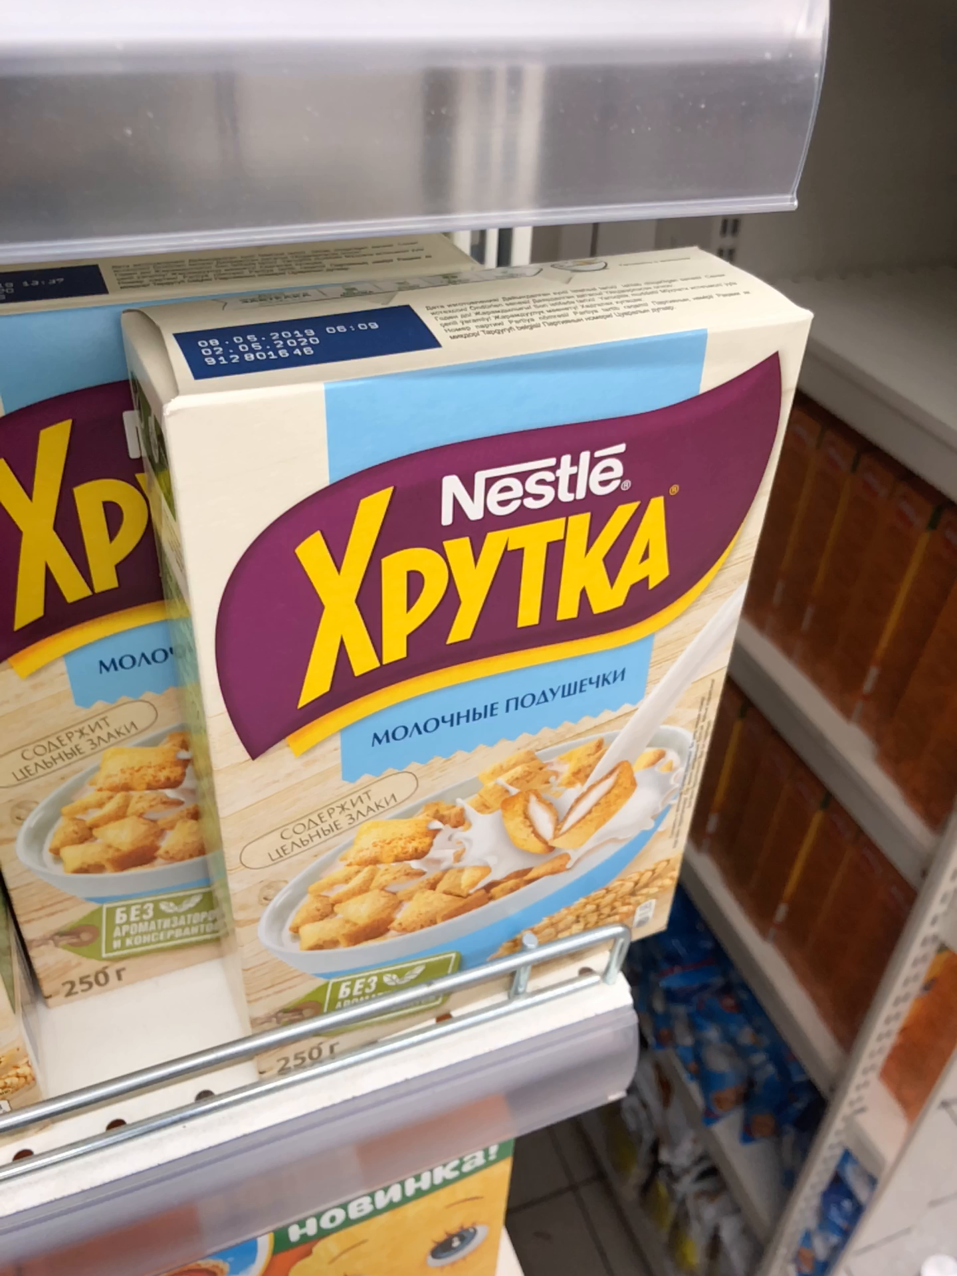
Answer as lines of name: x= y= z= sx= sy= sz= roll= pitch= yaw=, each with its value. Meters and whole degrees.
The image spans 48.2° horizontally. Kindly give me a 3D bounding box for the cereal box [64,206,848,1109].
cereal box: x=-0.006 y=0.014 z=0.280 sx=0.150 sy=0.219 sz=0.050 roll=-14 pitch=40 yaw=-22
